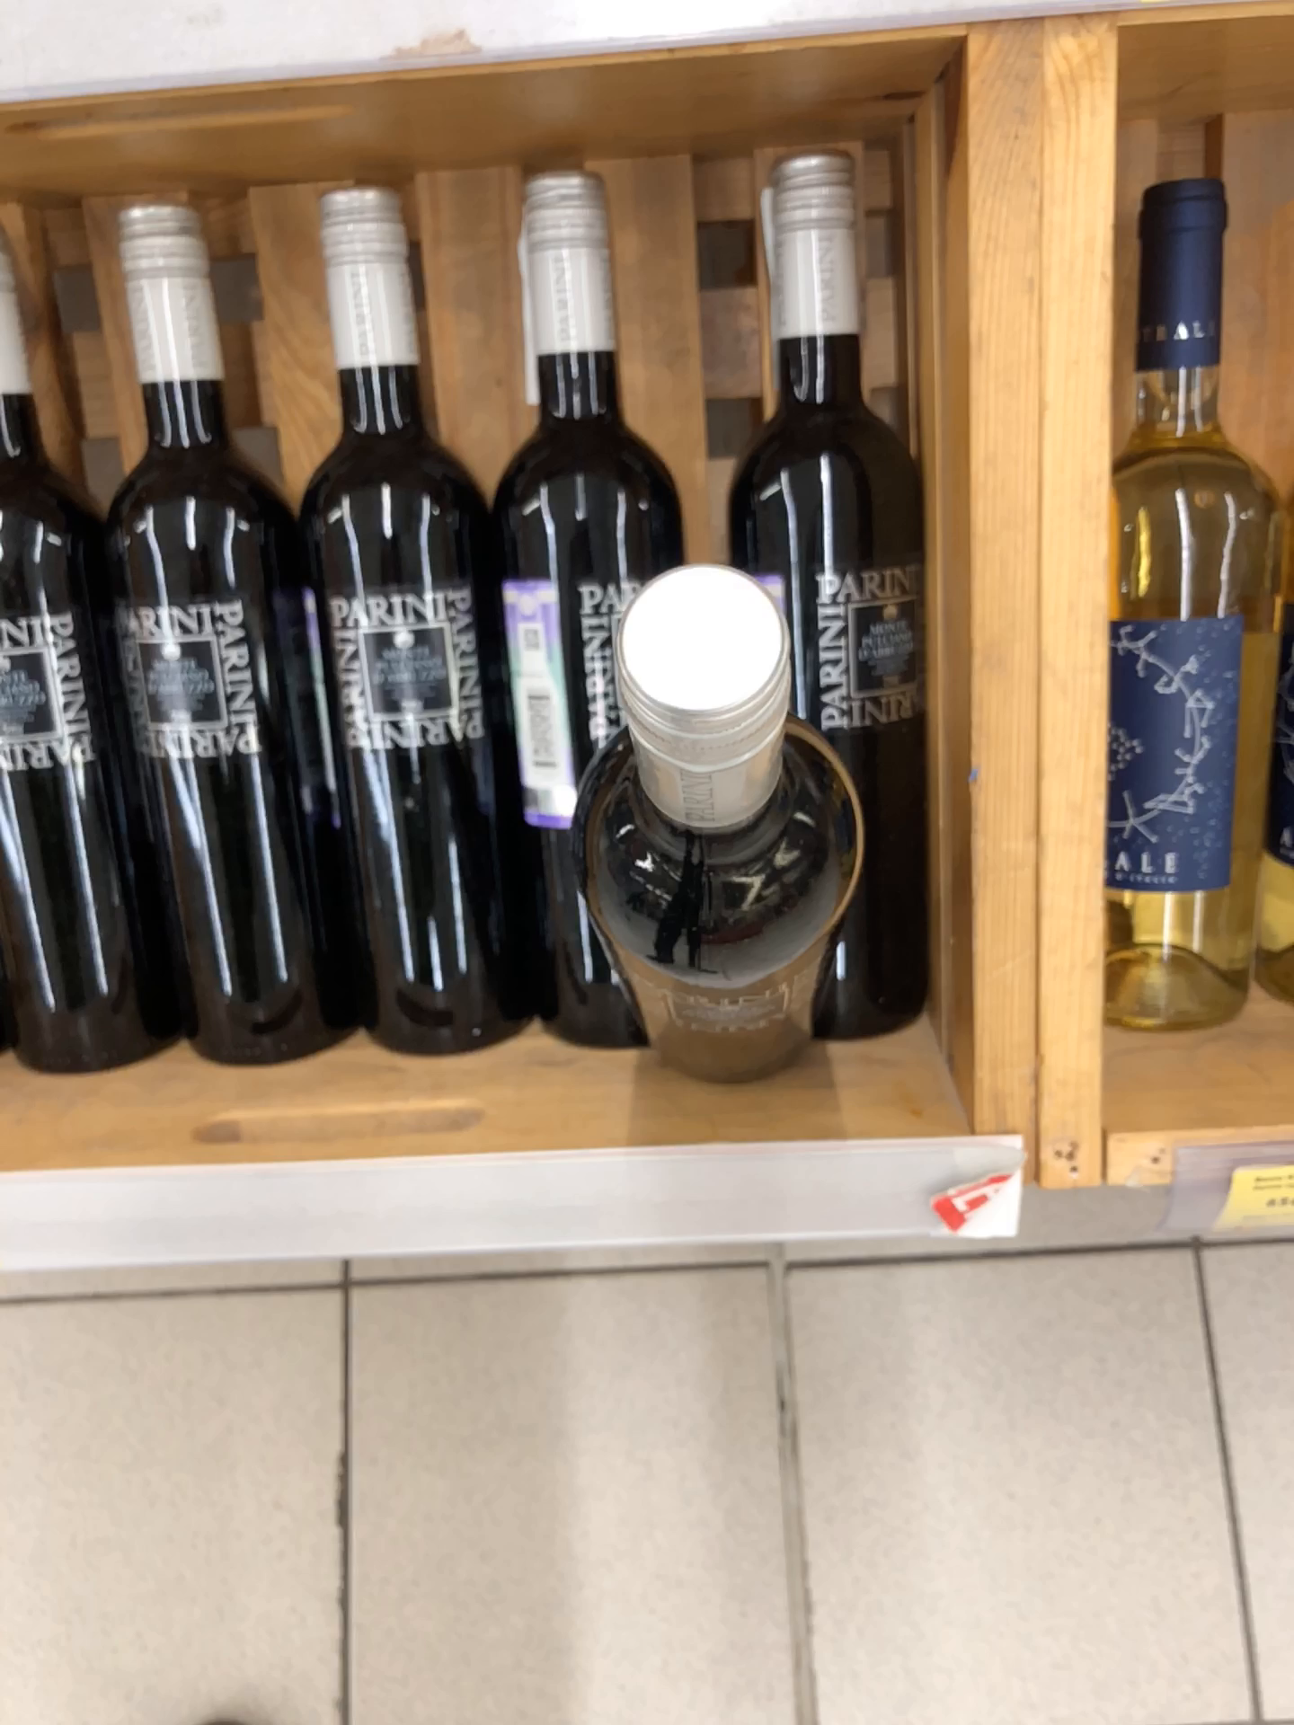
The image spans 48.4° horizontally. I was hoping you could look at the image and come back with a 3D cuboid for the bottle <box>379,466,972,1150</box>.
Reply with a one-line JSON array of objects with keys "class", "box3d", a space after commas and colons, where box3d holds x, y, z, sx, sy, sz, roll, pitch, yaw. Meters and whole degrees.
[{"class": "bottle", "box3d": [0.014, 0.014, 0.374, 0.090, 0.280, 0.080, 6, 73, 5]}]
